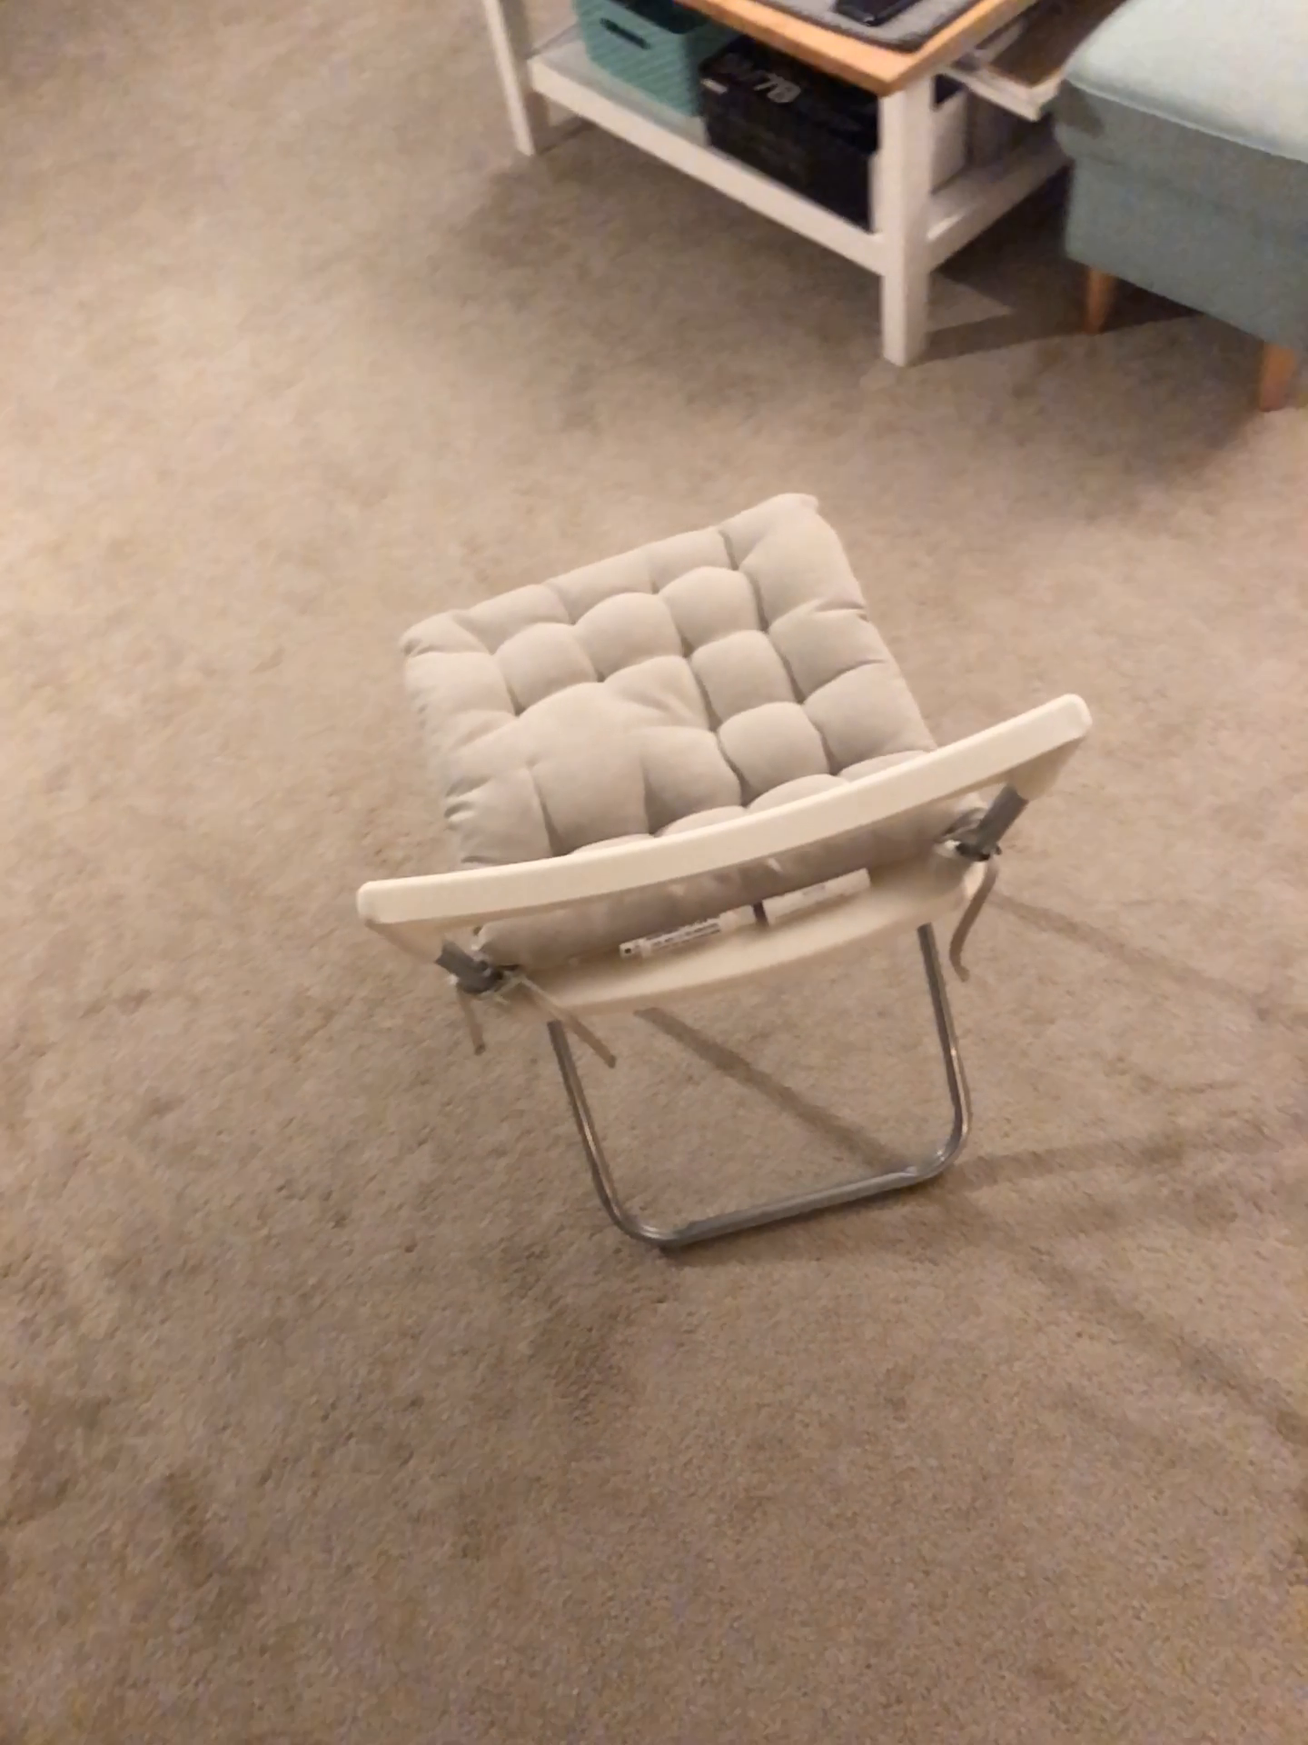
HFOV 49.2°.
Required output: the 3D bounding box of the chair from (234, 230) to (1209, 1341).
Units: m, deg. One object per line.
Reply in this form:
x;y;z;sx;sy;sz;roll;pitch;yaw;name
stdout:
0.042;-0.020;1.205;0.510;0.667;0.542;-16;58;0;chair
